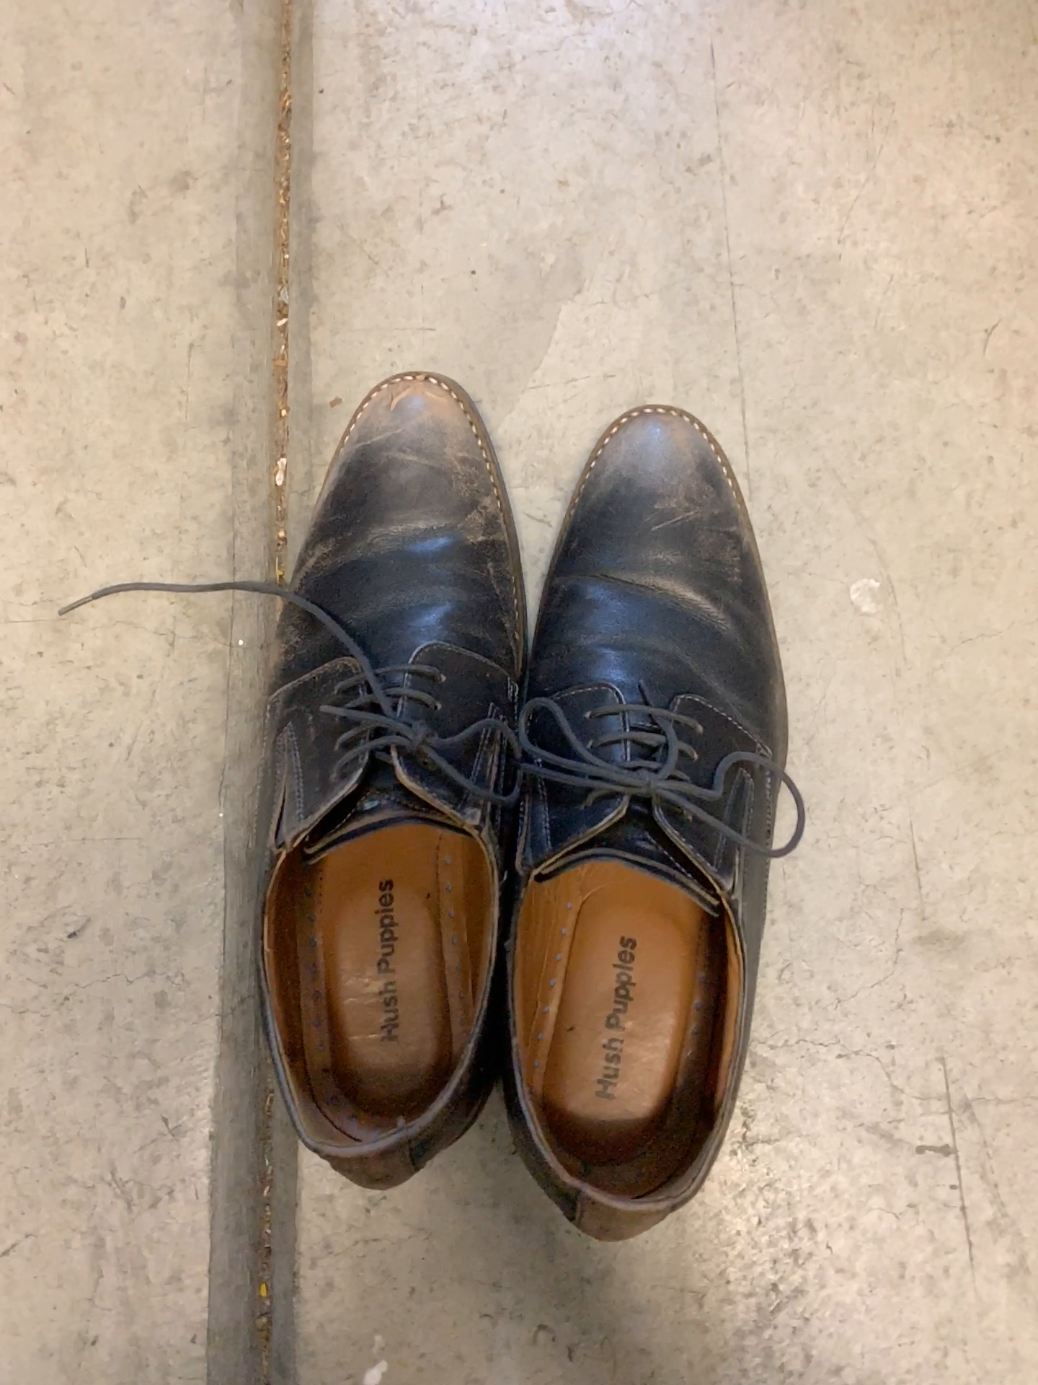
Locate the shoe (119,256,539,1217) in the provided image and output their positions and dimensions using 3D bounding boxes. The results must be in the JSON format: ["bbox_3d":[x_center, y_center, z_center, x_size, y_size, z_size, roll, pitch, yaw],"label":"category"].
[{"bbox_3d":[-0.055,0.010,0.403,0.110,0.120,0.310,2,79,3],"label":"shoe"}]

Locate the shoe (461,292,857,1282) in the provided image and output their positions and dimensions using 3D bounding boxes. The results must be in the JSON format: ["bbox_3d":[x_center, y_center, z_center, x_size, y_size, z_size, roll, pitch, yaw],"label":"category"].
[{"bbox_3d":[0.052,0.026,0.393,0.110,0.120,0.304,3,79,3],"label":"shoe"}]
